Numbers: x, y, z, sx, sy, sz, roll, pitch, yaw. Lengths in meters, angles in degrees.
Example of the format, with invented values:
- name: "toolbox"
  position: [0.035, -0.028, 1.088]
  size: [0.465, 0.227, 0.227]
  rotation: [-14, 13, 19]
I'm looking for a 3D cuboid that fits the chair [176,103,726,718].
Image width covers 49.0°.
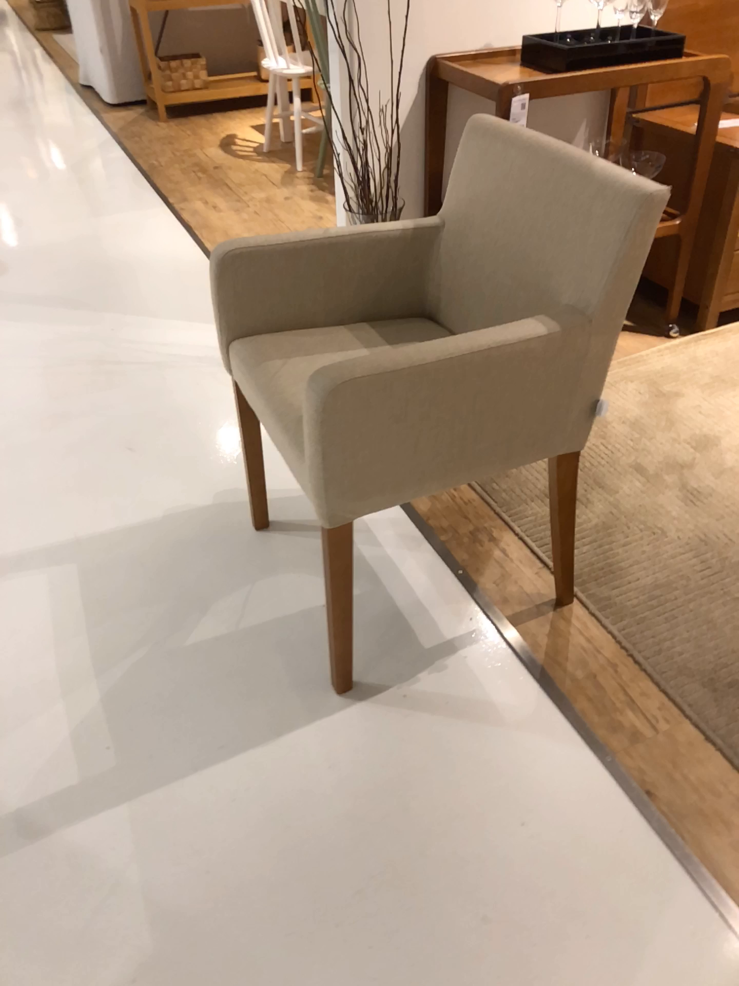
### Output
- name: "chair"
  position: [0.090, -0.177, 1.466]
  size: [0.621, 0.793, 0.604]
  rotation: [-16, 40, -17]
